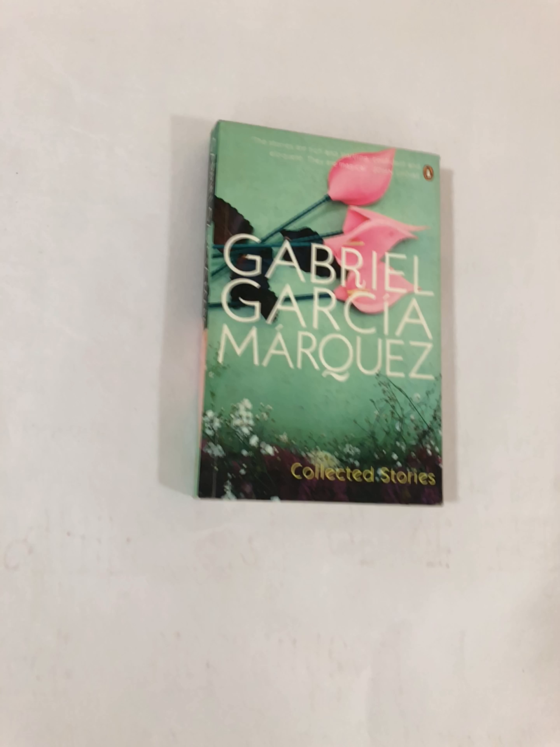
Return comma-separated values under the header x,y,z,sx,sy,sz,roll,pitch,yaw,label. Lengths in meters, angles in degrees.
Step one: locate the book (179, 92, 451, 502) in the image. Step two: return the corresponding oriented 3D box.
x,y,z,sx,sy,sz,roll,pitch,yaw,label
0.019,-0.037,0.325,0.130,0.030,0.200,4,79,-12,book
